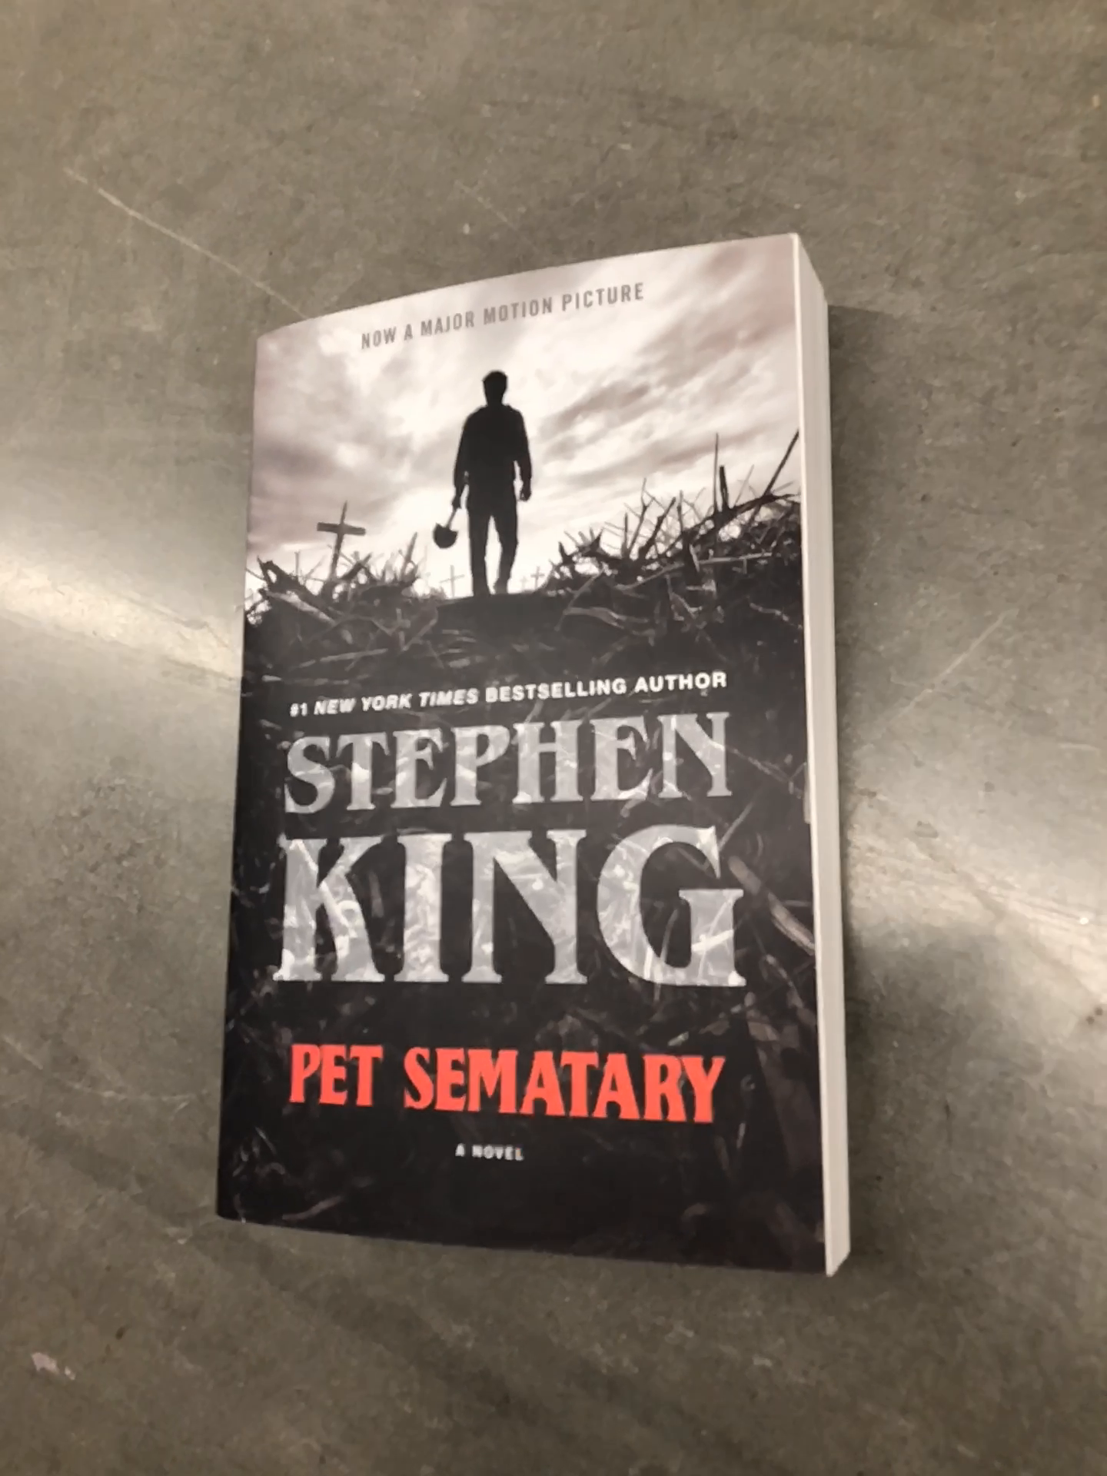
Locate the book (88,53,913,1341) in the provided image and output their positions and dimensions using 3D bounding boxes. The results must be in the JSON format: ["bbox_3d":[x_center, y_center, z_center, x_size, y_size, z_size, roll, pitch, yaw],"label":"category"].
[{"bbox_3d":[-0.013,-0.007,0.254,0.160,0.050,0.220,-2,85,18],"label":"book"}]
